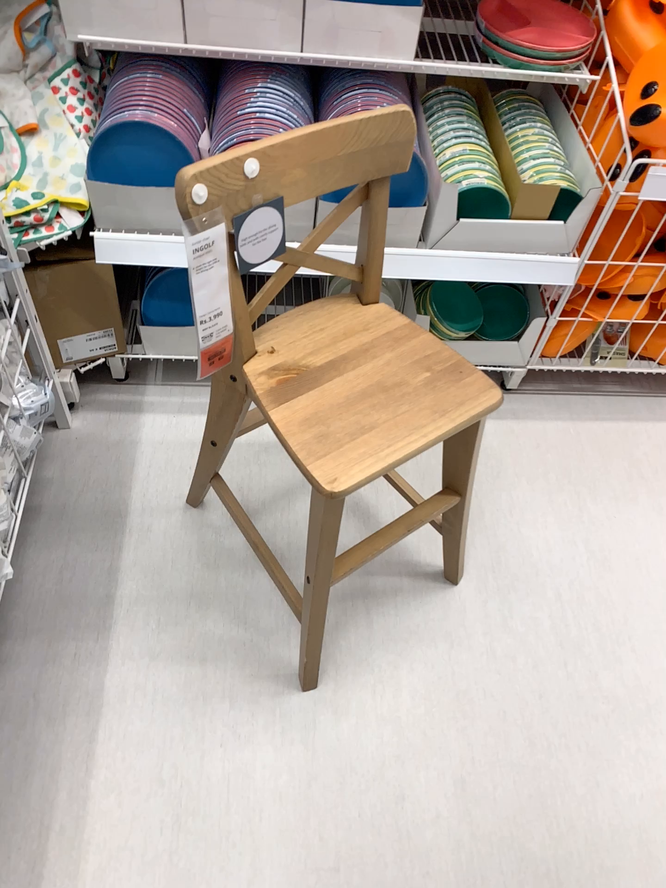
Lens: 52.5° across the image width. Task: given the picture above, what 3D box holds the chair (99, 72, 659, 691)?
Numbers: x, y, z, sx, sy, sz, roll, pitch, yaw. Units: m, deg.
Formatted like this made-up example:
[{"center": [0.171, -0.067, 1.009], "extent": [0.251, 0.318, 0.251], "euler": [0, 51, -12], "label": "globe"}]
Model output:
[{"center": [0.011, -0.042, 0.986], "extent": [0.381, 0.688, 0.461], "euler": [-33, 64, -26], "label": "chair"}]
